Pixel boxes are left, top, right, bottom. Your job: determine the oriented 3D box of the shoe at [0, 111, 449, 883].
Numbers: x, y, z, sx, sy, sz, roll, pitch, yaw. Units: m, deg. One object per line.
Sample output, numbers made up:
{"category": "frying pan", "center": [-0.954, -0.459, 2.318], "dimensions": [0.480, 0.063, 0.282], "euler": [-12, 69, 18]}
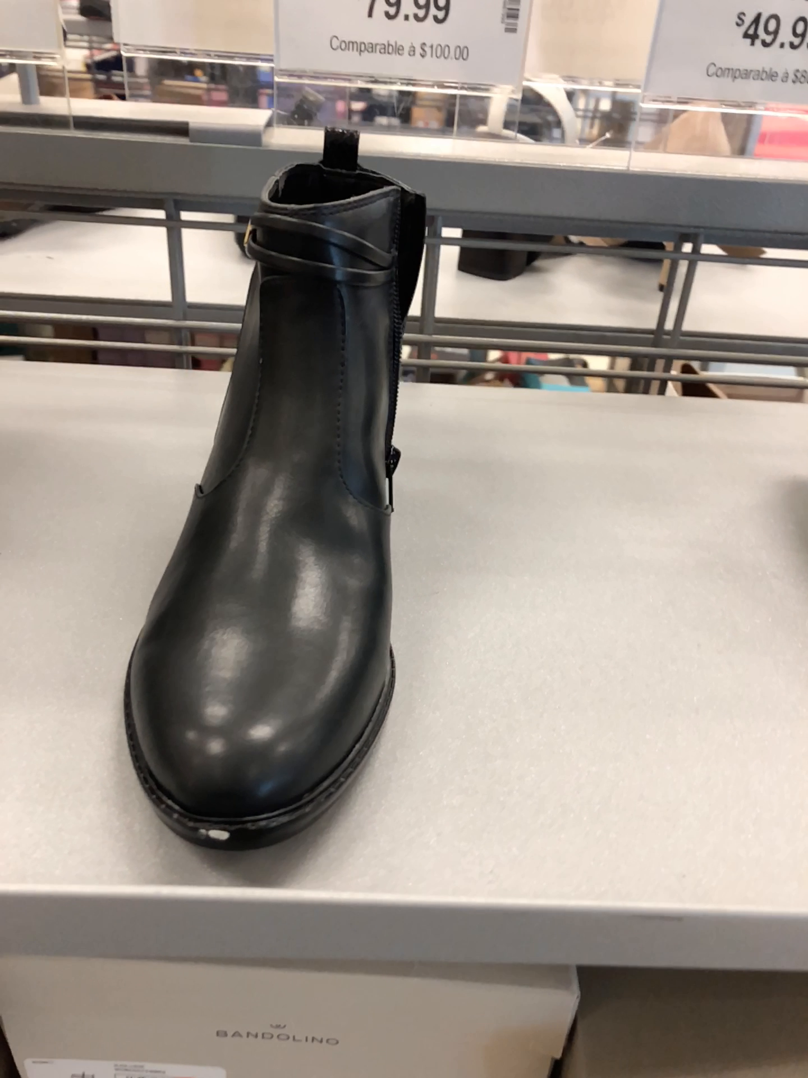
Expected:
{"category": "shoe", "center": [-0.038, -0.038, 0.294], "dimensions": [0.090, 0.149, 0.232], "euler": [5, 33, 0]}
